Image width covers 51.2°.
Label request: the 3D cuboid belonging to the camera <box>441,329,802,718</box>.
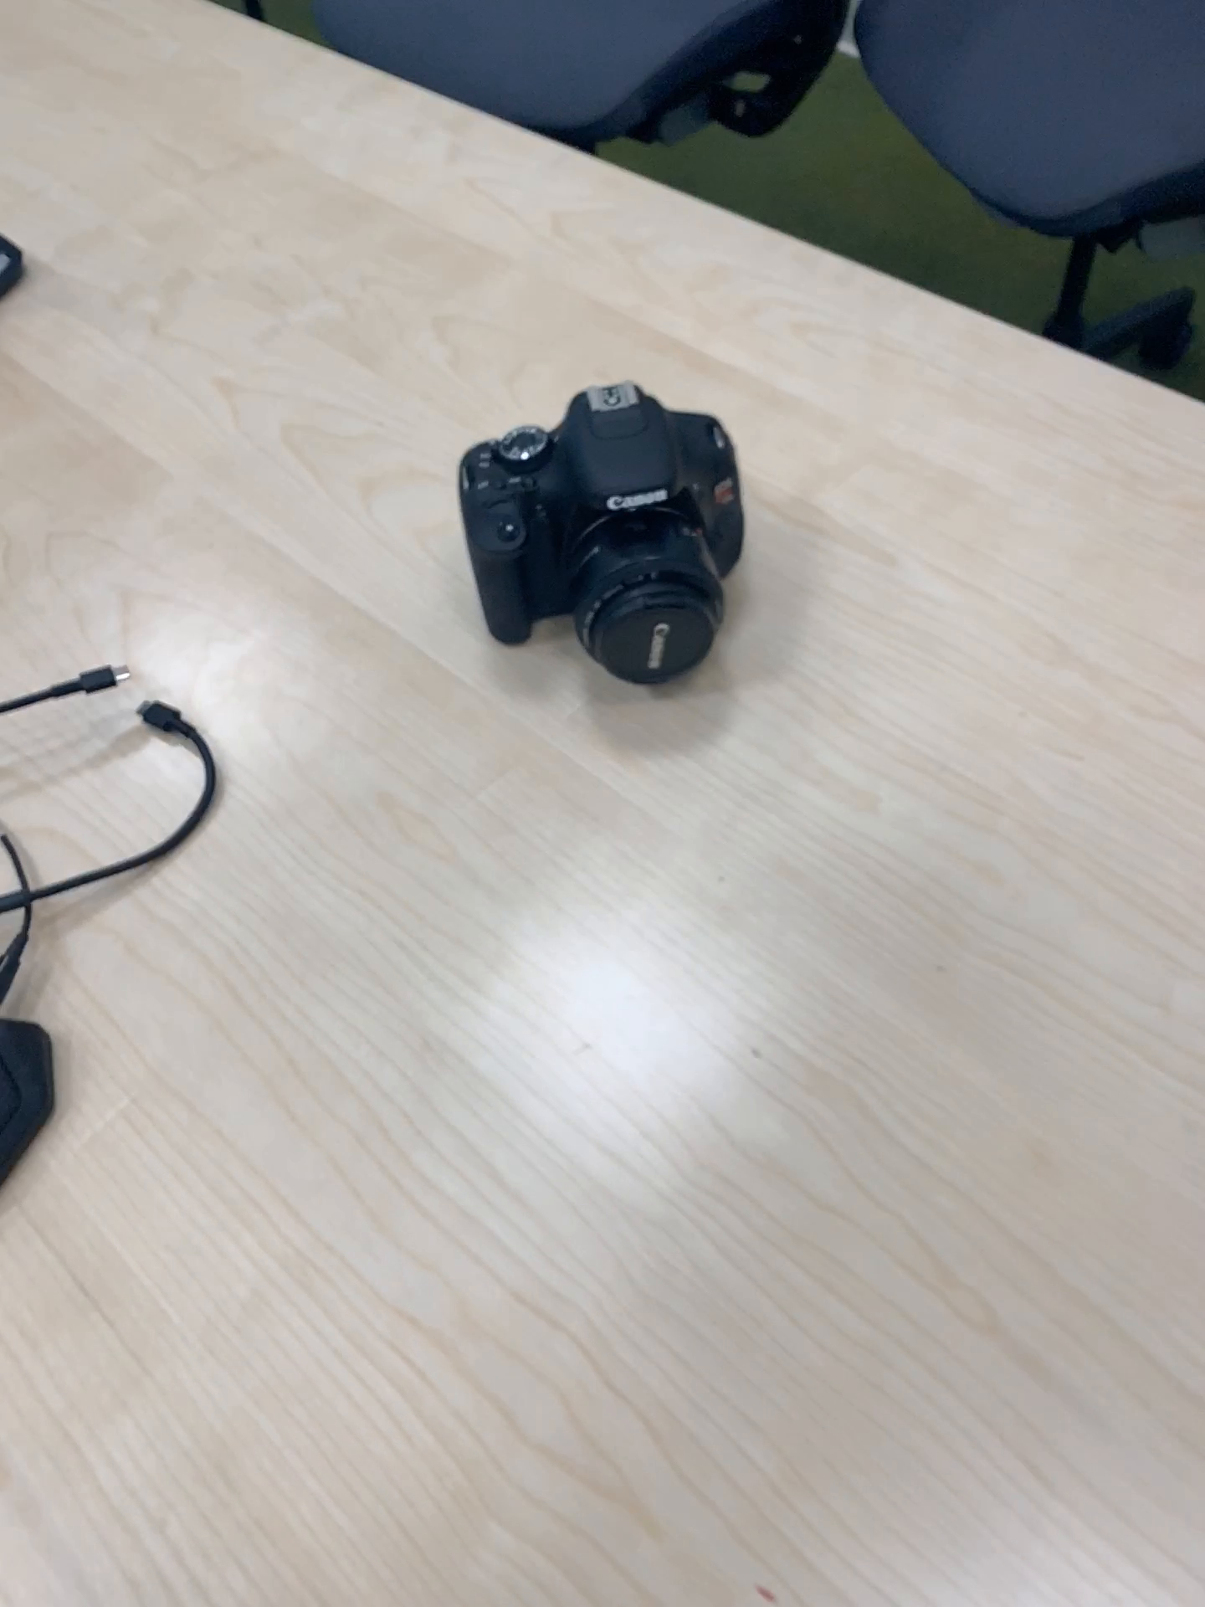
[{"bbox_3d":[0.007,-0.123,0.553,0.130,0.090,0.120,-10,54,-1],"label":"camera"}]
